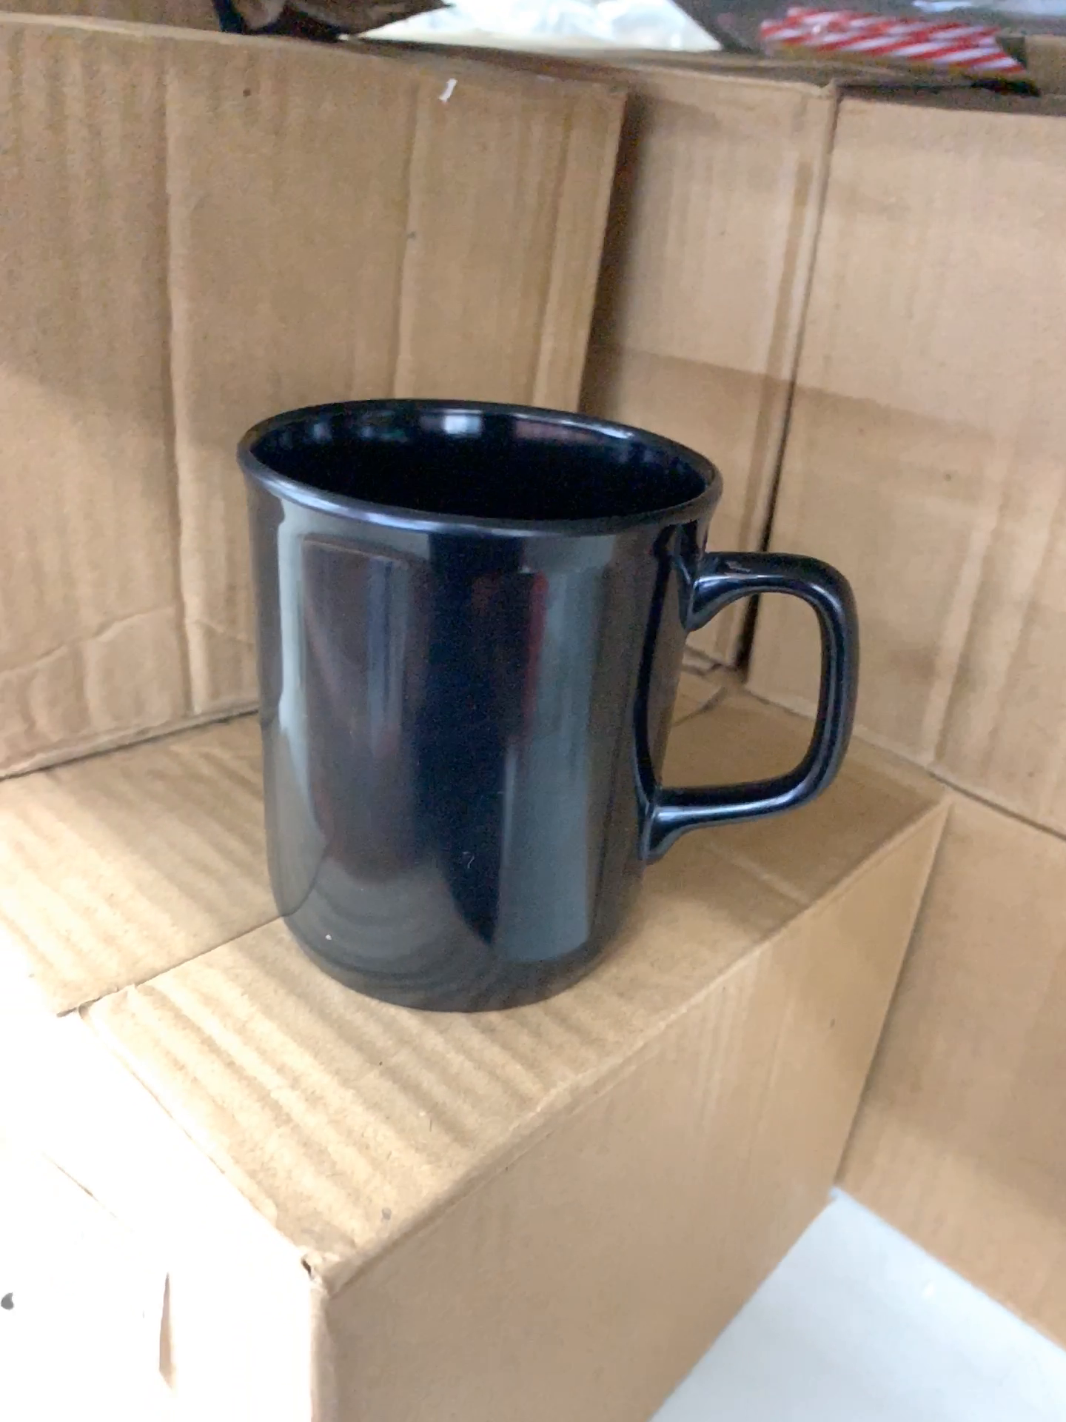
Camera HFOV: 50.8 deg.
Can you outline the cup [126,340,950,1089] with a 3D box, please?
[{"bbox_3d":[0.002,-0.004,0.186,0.100,0.089,0.071,7,29,7],"label":"cup"}]
